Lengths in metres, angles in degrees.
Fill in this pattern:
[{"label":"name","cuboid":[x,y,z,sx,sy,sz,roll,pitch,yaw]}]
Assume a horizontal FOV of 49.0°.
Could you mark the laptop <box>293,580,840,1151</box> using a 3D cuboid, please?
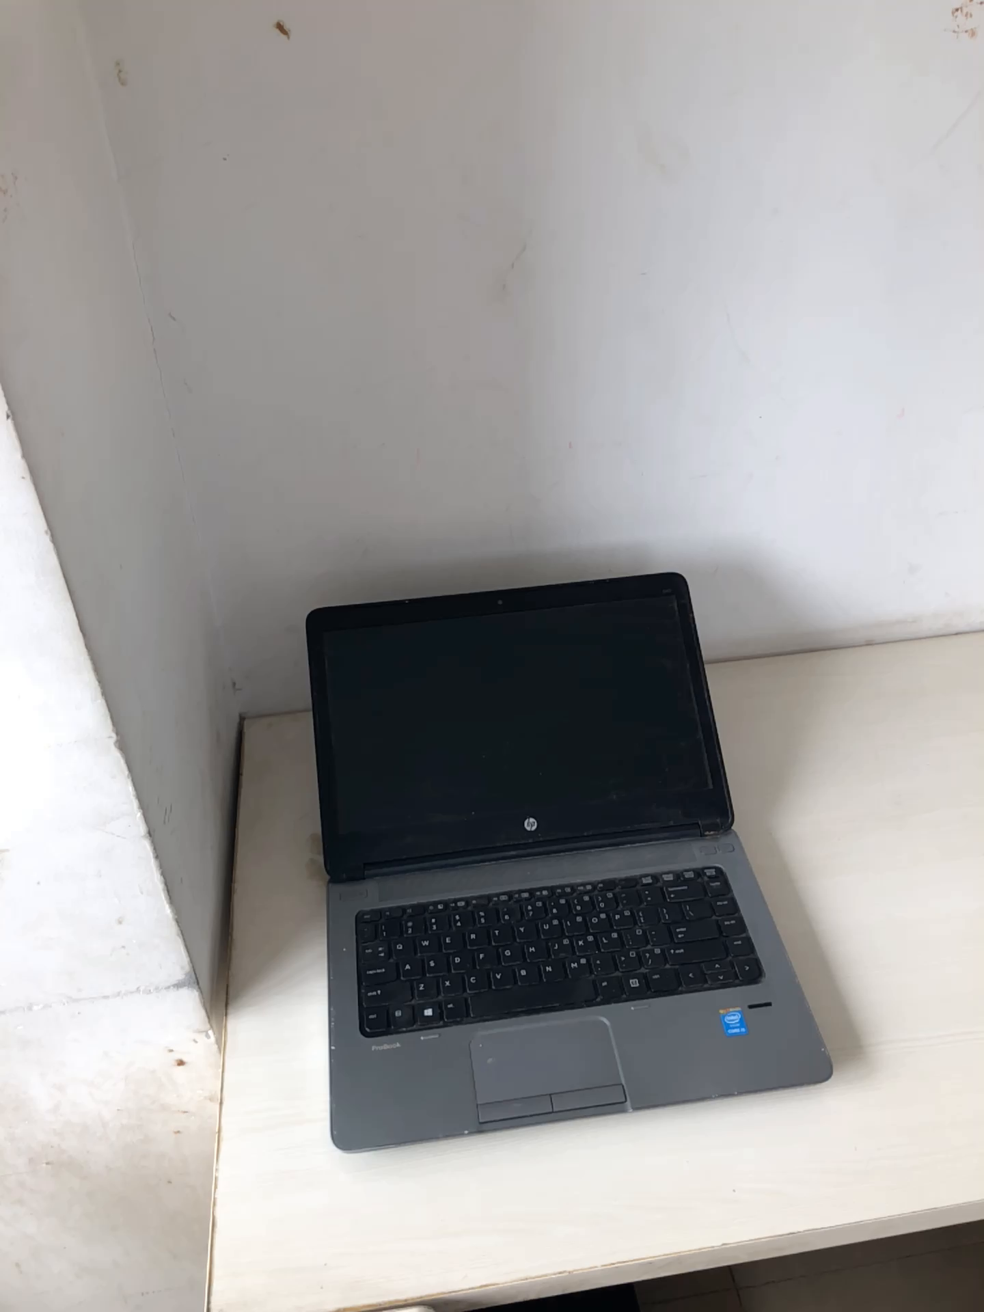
[{"label":"laptop","cuboid":[0.024,0.125,0.835,0.328,0.137,0.407,-5,38,-6]}]
